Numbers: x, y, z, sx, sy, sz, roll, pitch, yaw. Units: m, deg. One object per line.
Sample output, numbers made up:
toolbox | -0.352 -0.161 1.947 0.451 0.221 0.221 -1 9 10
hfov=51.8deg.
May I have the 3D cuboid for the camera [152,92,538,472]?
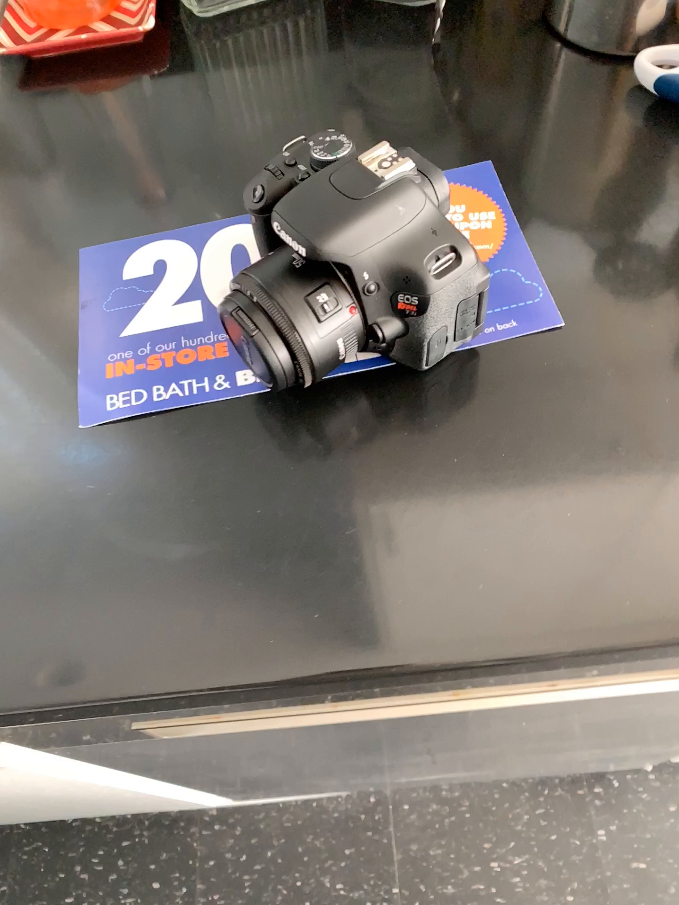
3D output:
camera | 0.002 -0.092 0.369 0.124 0.085 0.140 -37 63 -13
